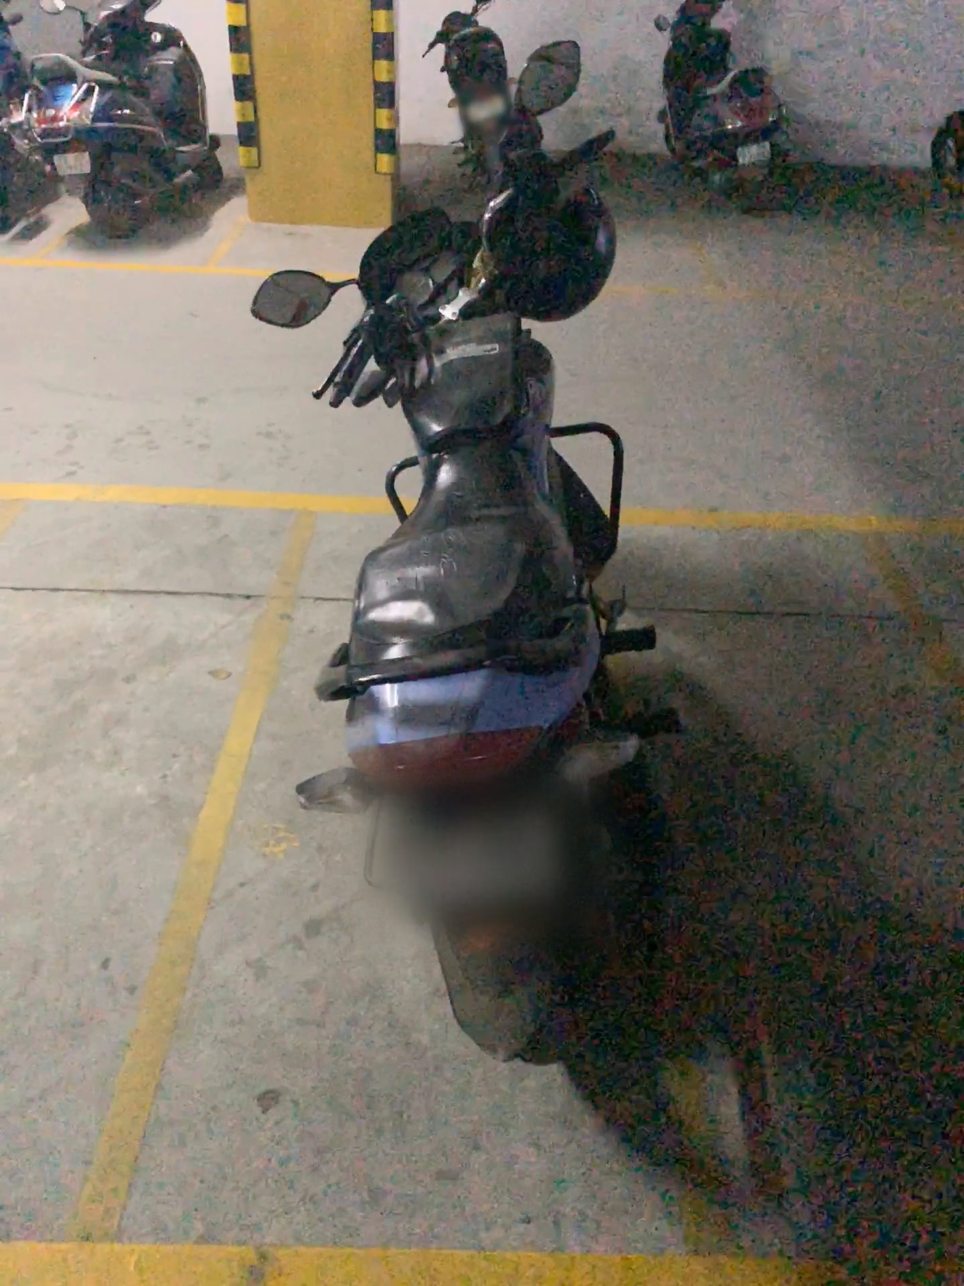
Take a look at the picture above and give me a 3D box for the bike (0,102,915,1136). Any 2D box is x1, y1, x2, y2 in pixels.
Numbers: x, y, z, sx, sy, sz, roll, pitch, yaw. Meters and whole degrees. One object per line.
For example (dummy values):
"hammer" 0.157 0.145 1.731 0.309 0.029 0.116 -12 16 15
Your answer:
"bike" -0.173 -0.227 1.793 0.780 1.108 1.709 -2 36 -6
